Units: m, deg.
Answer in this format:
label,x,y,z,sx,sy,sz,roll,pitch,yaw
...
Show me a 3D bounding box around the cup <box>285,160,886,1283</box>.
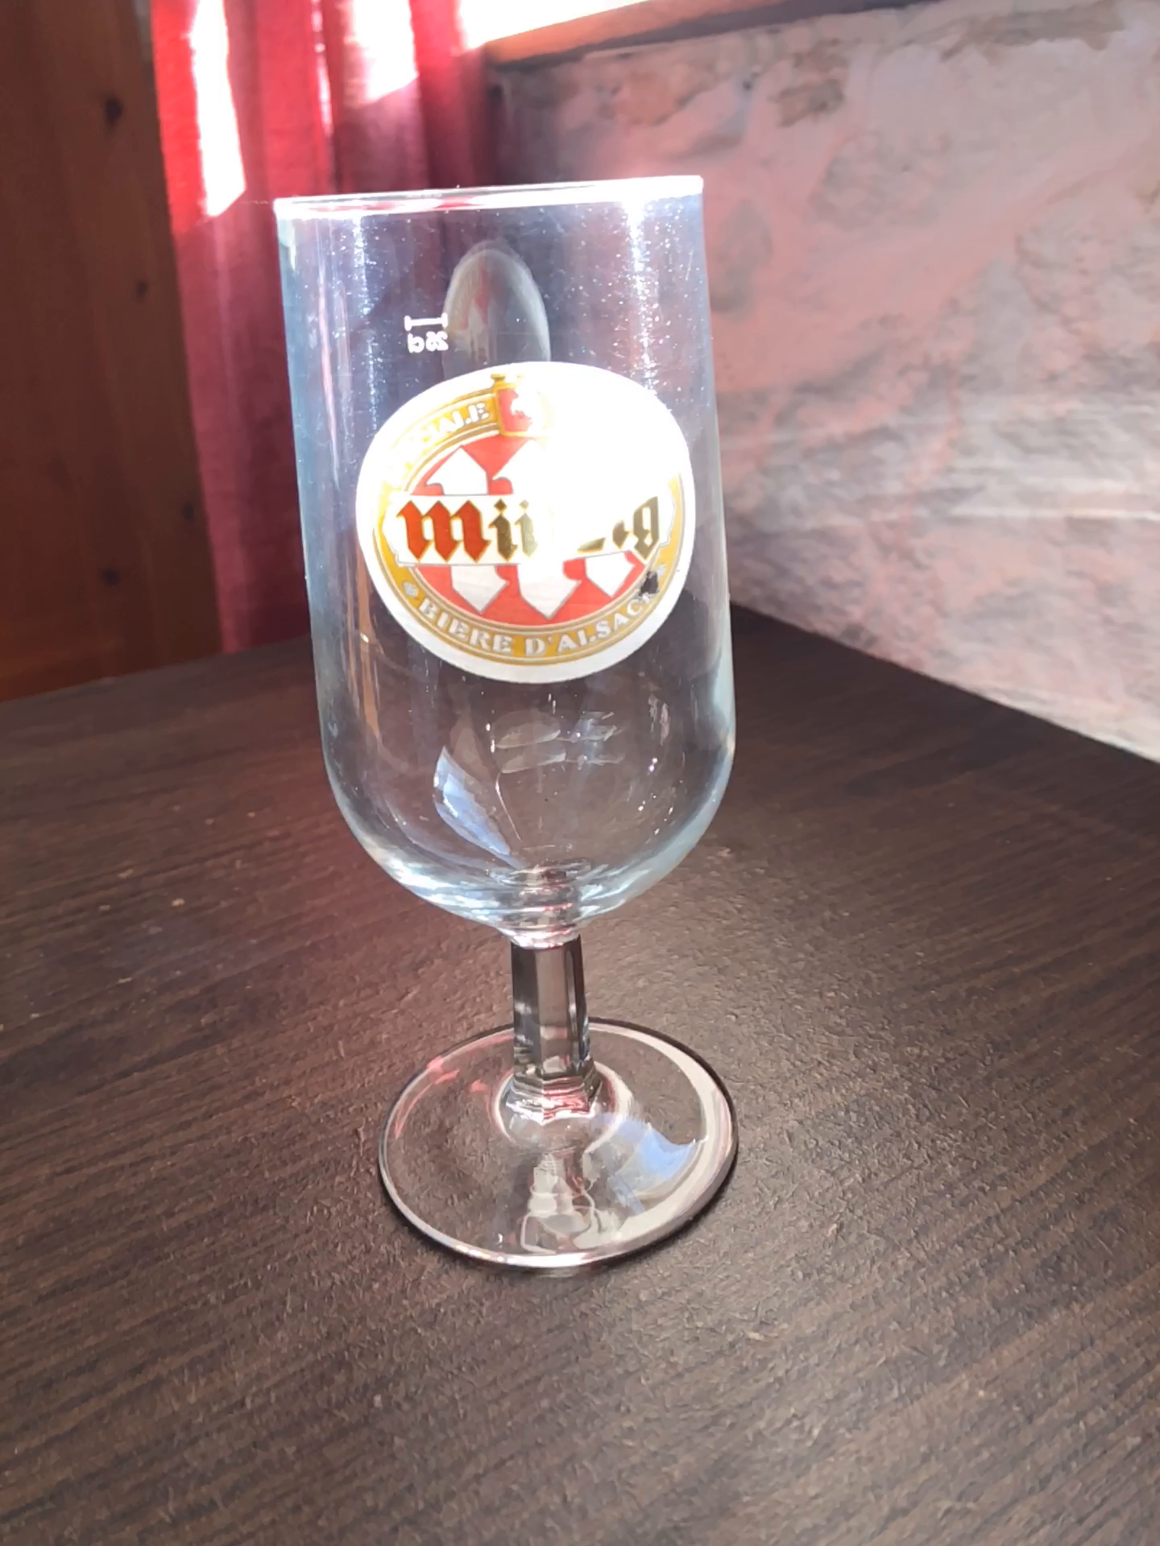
label,x,y,z,sx,sy,sz,roll,pitch,yaw
cup,0.000,-0.009,0.205,0.067,0.155,0.070,-2,23,1
